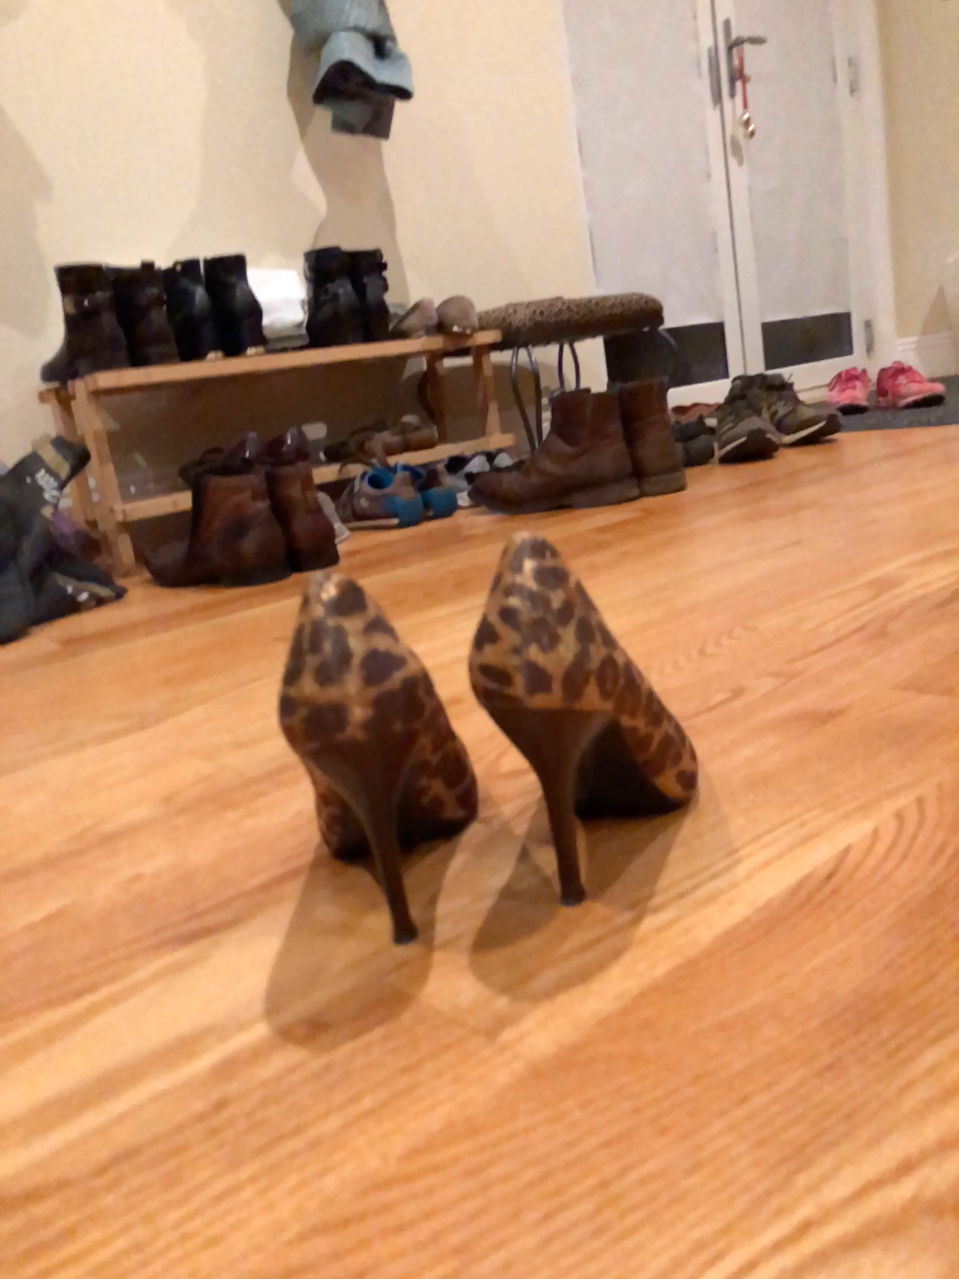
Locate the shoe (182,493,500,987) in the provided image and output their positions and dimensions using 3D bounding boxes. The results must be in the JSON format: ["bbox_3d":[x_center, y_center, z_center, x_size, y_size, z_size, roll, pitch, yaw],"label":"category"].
[{"bbox_3d":[-0.045,0.023,0.460,0.083,0.144,0.219,-8,13,2],"label":"shoe"}]

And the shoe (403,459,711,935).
[{"bbox_3d":[0.050,0.008,0.461,0.083,0.144,0.219,-6,13,15],"label":"shoe"}]
